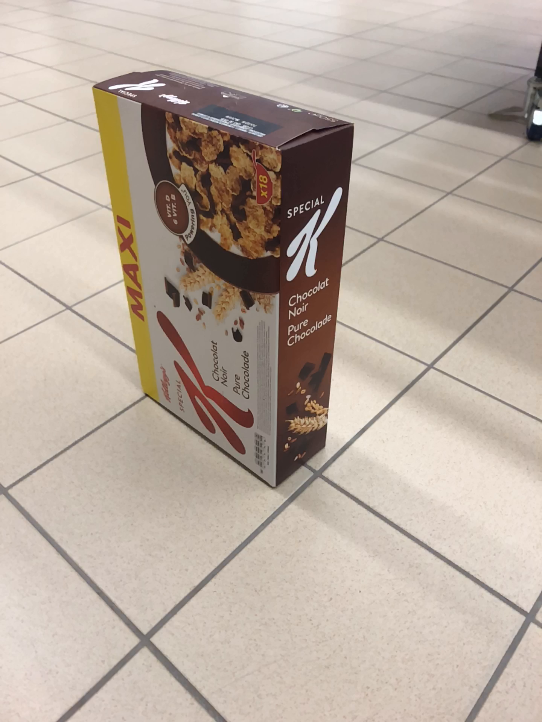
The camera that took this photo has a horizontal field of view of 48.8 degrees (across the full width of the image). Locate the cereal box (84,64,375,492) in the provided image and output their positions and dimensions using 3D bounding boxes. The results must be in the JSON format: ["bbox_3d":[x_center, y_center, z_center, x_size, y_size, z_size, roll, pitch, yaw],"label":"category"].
[{"bbox_3d":[-0.039,-0.065,0.501,0.210,0.298,0.070,28,44,31],"label":"cereal box"}]
